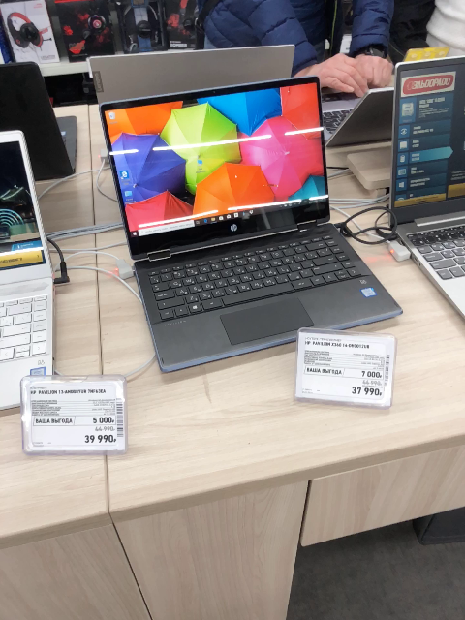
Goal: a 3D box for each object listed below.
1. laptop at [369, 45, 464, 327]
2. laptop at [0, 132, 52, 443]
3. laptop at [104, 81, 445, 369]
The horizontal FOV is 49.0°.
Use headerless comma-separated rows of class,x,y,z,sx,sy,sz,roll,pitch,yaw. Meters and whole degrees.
laptop,0.457,-0.196,0.729,0.351,0.218,0.331,-10,44,-10
laptop,-0.401,-0.053,0.623,0.292,0.171,0.324,-10,45,-13
laptop,0.024,-0.140,0.705,0.326,0.194,0.327,-13,45,-13
